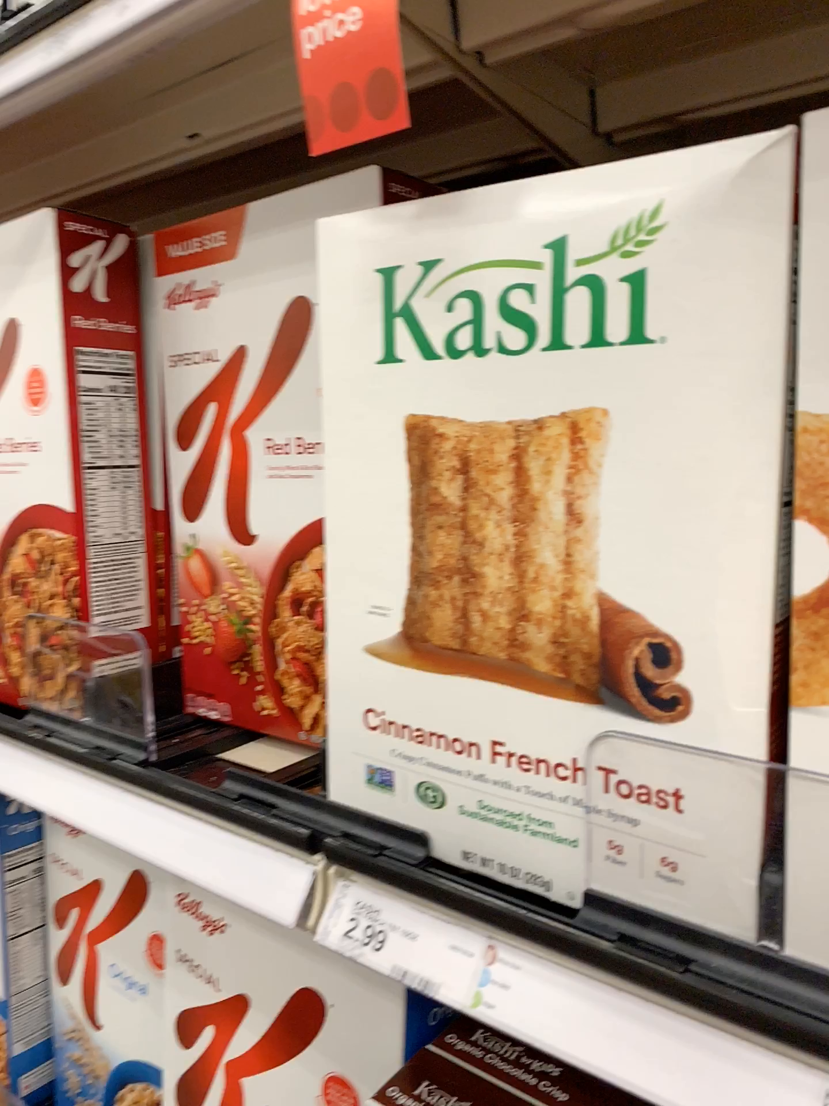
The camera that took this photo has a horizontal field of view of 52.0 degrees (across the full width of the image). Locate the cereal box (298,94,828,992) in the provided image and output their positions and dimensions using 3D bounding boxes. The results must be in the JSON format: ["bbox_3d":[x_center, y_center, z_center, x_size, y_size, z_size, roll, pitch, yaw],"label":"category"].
[{"bbox_3d":[0.051,-0.006,0.343,0.210,0.270,0.060,5,8,39],"label":"cereal box"}]
